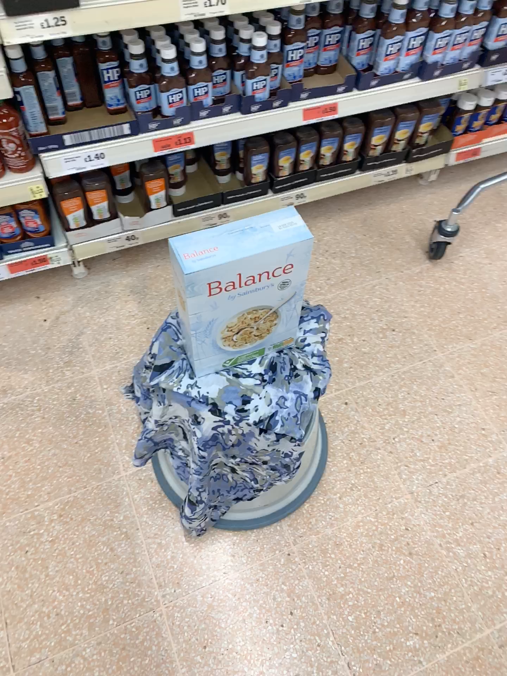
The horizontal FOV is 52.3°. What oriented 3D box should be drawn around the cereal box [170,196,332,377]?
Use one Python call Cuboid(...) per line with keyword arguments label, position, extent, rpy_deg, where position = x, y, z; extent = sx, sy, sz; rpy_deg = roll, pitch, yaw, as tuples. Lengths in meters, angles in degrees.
Cuboid(label="cereal box", position=(-0.009, -0.070, 0.817), extent=(0.210, 0.278, 0.070), rpy_deg=(-17, 58, -15))
